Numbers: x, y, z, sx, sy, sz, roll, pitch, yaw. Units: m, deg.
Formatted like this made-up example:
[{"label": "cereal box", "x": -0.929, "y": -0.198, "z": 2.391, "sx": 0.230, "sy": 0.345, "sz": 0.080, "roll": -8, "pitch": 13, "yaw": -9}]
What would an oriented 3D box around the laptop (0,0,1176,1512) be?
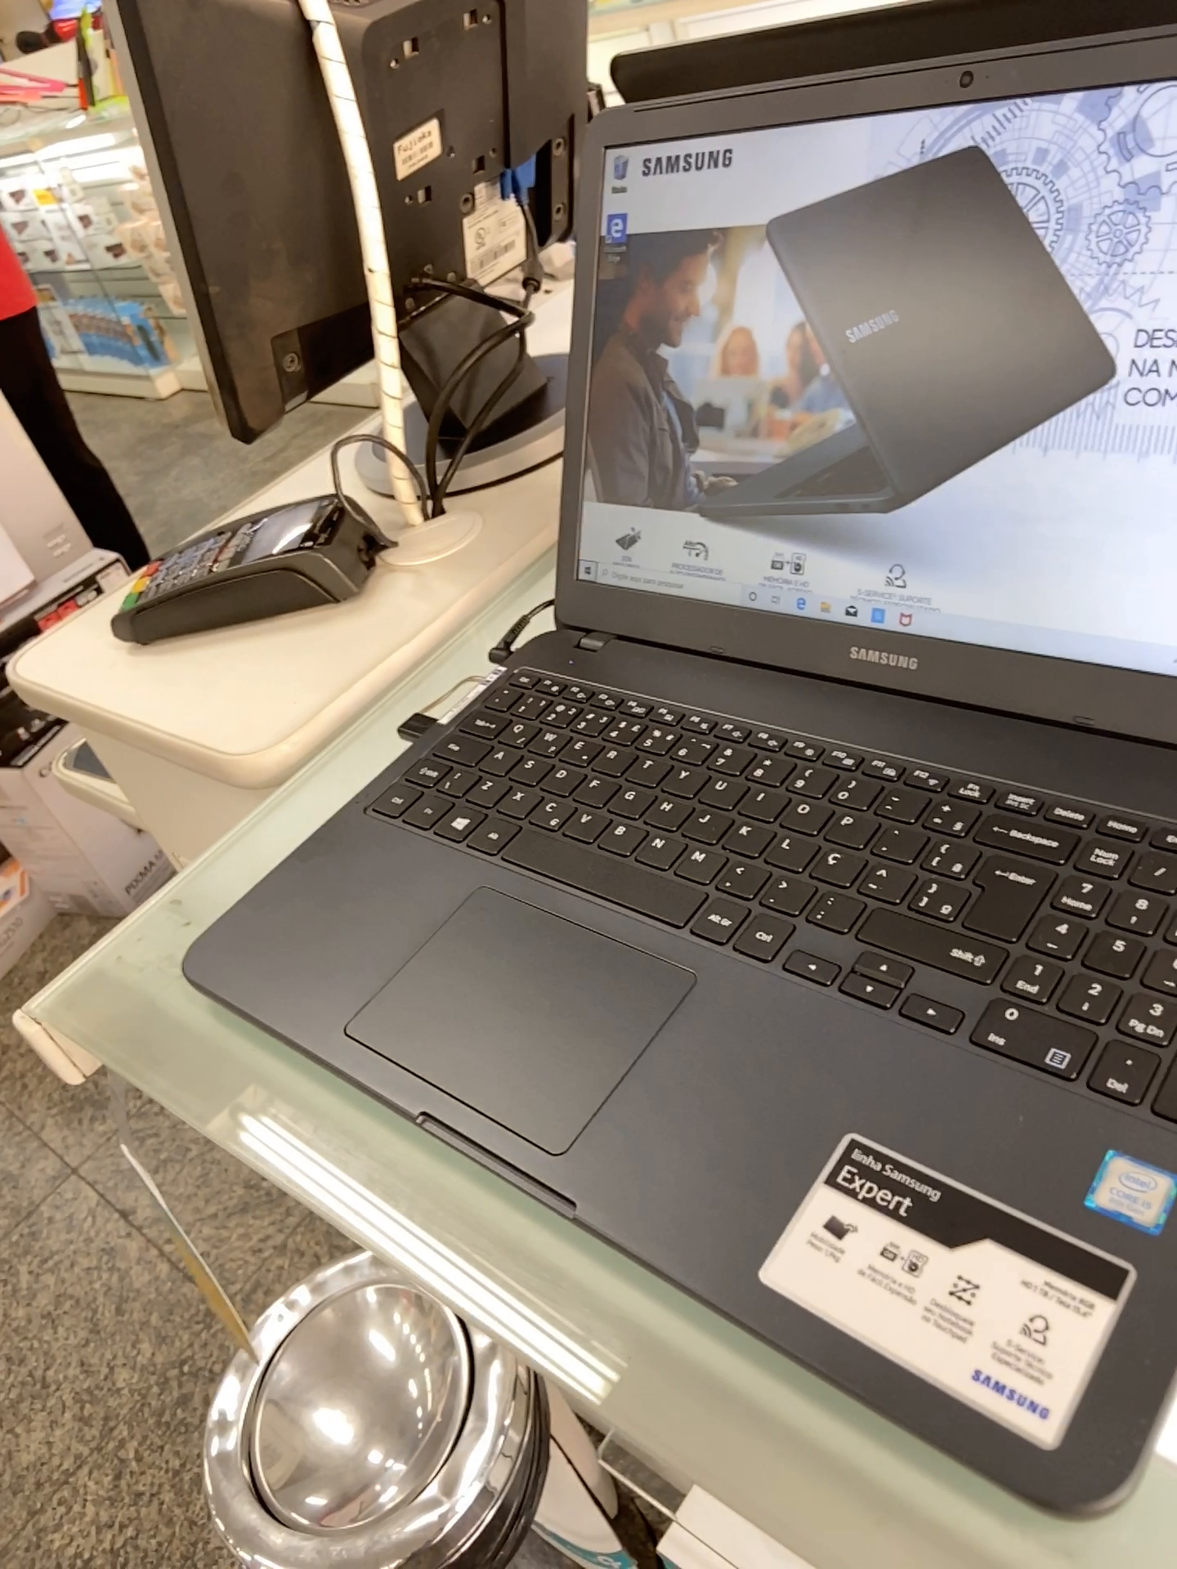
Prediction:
[{"label": "laptop", "x": 0.055, "y": -0.076, "z": 0.410, "sx": 0.372, "sy": 0.200, "sz": 0.369, "roll": 16, "pitch": 51, "yaw": 39}]
